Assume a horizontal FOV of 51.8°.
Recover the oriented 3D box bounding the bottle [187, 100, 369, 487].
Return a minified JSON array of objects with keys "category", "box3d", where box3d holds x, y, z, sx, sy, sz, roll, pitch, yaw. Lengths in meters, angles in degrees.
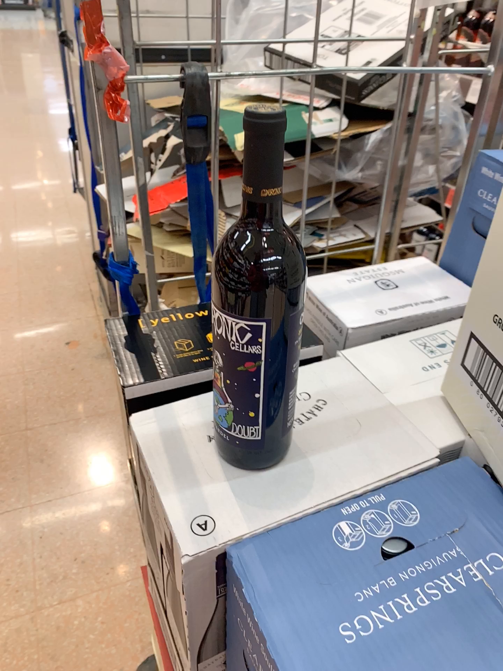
[{"category":"bottle","box3d":[0.008,-0.022,0.409,0.085,0.284,0.086,2,34,-2]}]
